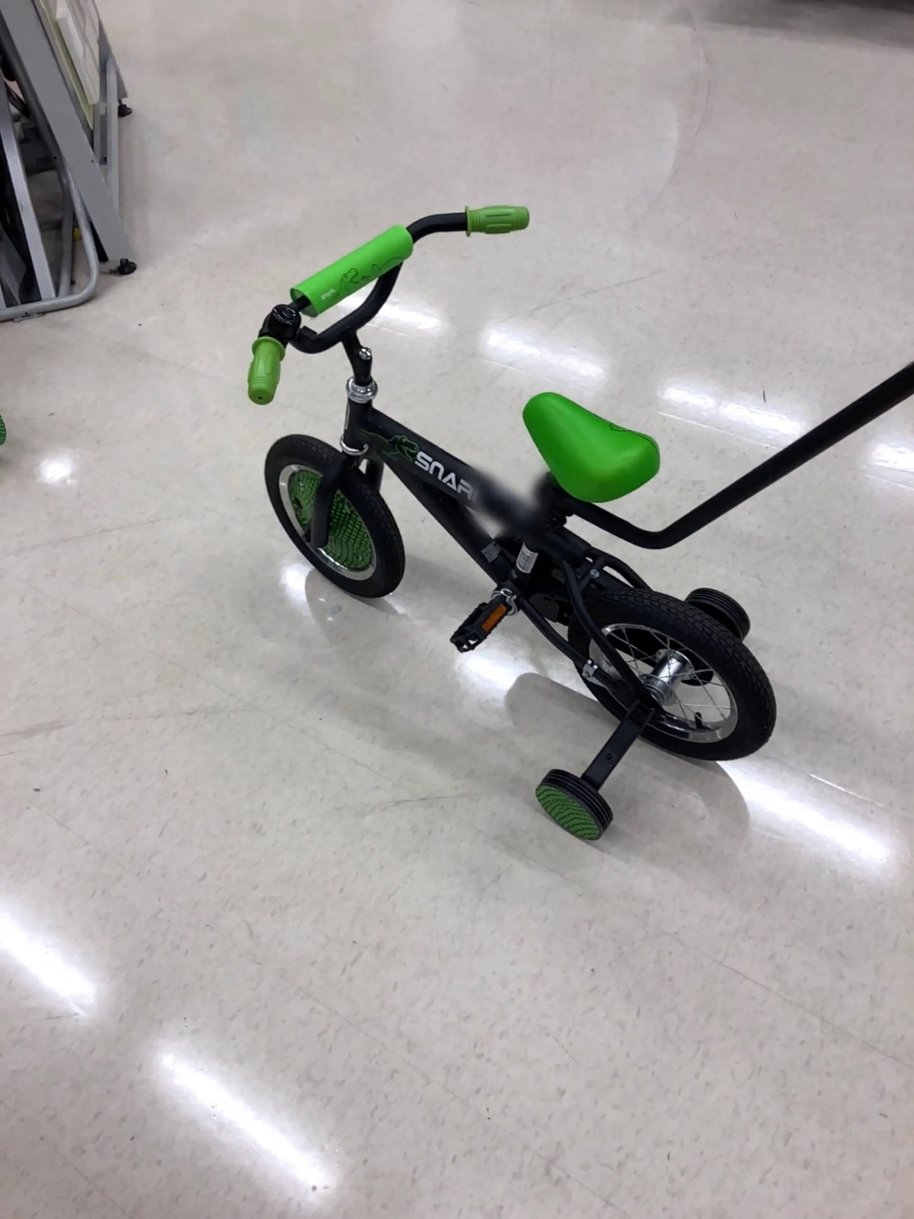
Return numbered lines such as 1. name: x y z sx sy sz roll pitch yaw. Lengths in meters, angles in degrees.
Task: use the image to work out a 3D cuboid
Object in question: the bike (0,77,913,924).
1. bike: 0.019 -0.158 1.282 0.848 0.600 0.492 29 60 24
